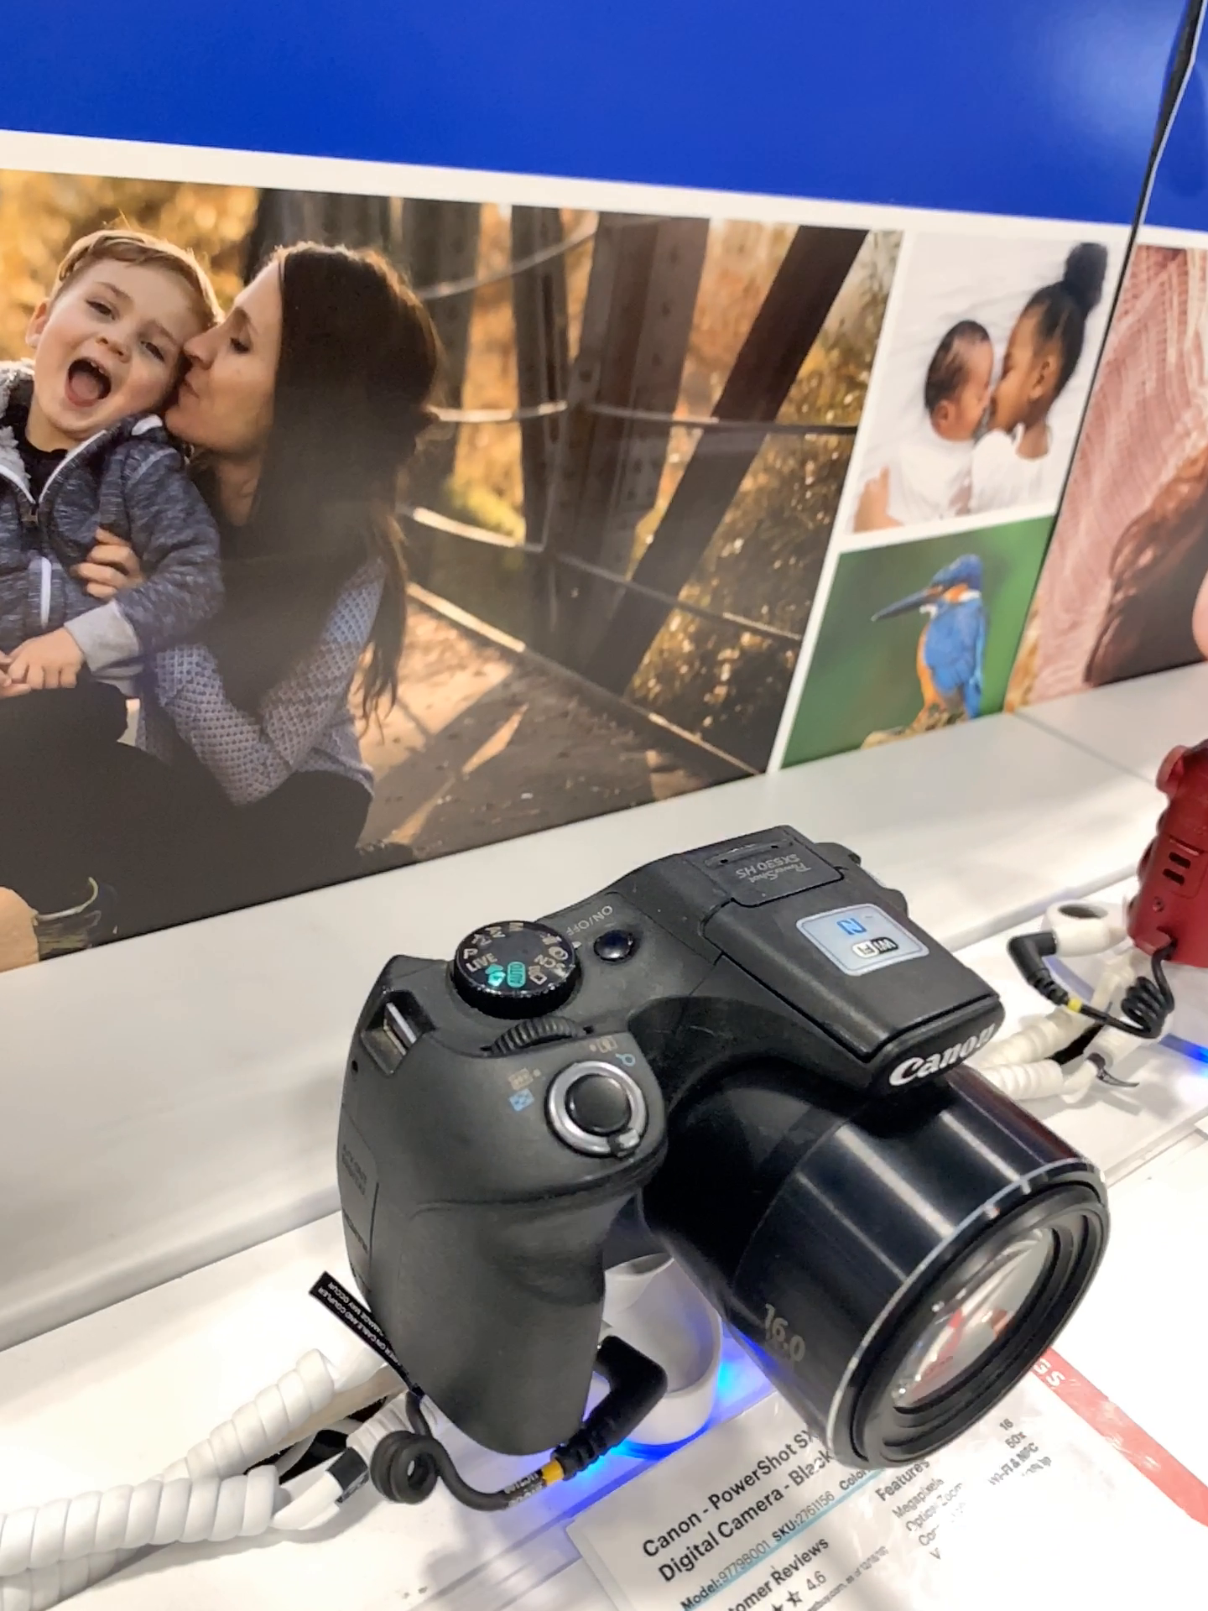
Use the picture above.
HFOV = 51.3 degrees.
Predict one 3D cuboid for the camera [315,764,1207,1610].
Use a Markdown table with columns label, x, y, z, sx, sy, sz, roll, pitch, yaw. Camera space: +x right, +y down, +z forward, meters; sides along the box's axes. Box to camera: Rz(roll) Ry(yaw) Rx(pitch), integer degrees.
| label | x | y | z | sx | sy | sz | roll | pitch | yaw |
| --- | --- | --- | --- | --- | --- | --- | --- | --- | --- |
| camera | 0.028 | 0.058 | 0.217 | 0.124 | 0.080 | 0.090 | -14 | 34 | -37 |
